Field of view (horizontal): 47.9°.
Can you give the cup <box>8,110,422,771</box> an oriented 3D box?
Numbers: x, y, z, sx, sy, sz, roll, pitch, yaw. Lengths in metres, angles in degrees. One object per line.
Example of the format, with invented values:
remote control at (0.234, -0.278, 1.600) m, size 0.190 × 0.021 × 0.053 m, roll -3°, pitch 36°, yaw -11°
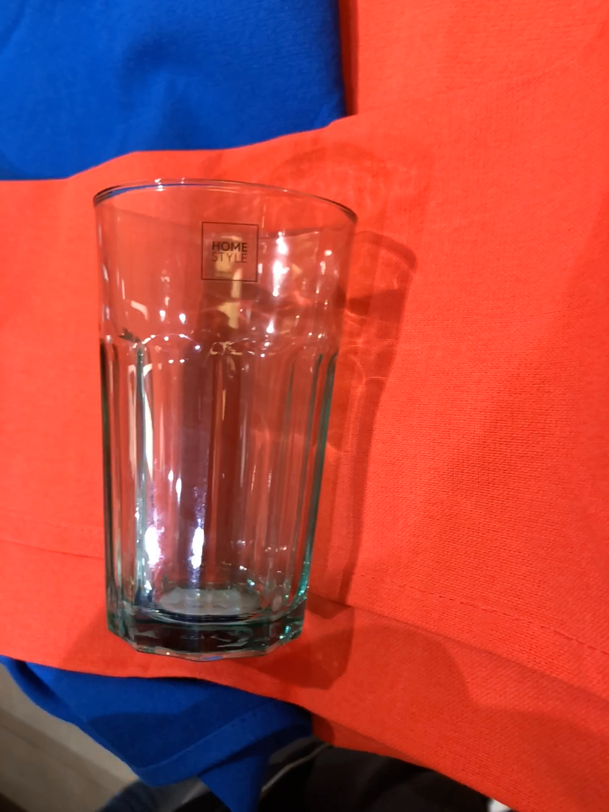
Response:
cup at (-0.026, 0.006, 0.208) m, size 0.090 × 0.070 × 0.150 m, roll 5°, pitch 91°, yaw 32°
